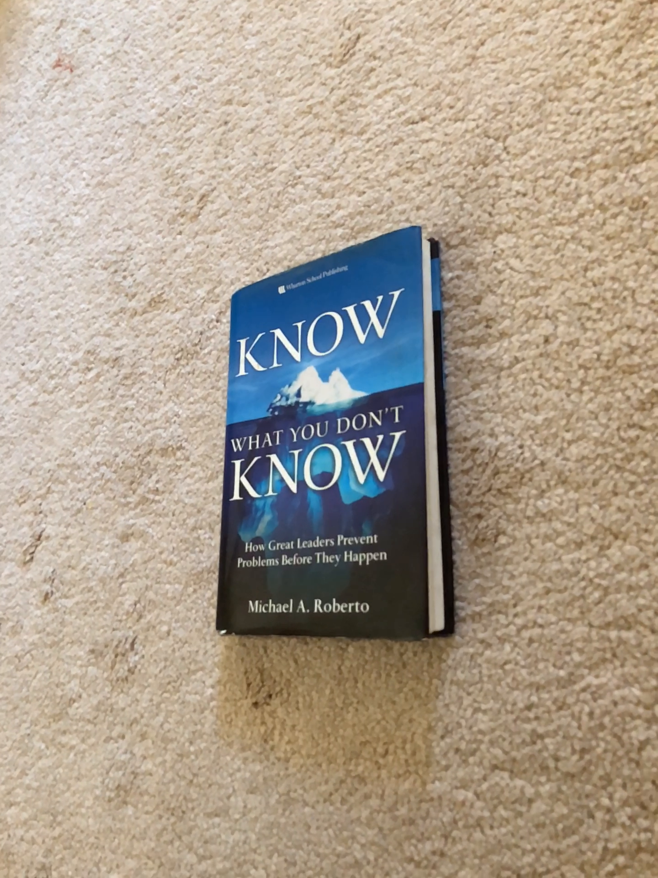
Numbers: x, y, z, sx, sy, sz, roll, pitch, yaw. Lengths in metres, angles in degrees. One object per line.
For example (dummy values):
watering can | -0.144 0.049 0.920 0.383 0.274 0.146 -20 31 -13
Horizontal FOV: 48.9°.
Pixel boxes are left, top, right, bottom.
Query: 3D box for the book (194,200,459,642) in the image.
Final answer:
book | -0.007 -0.004 0.437 0.160 0.034 0.240 -10 72 35
